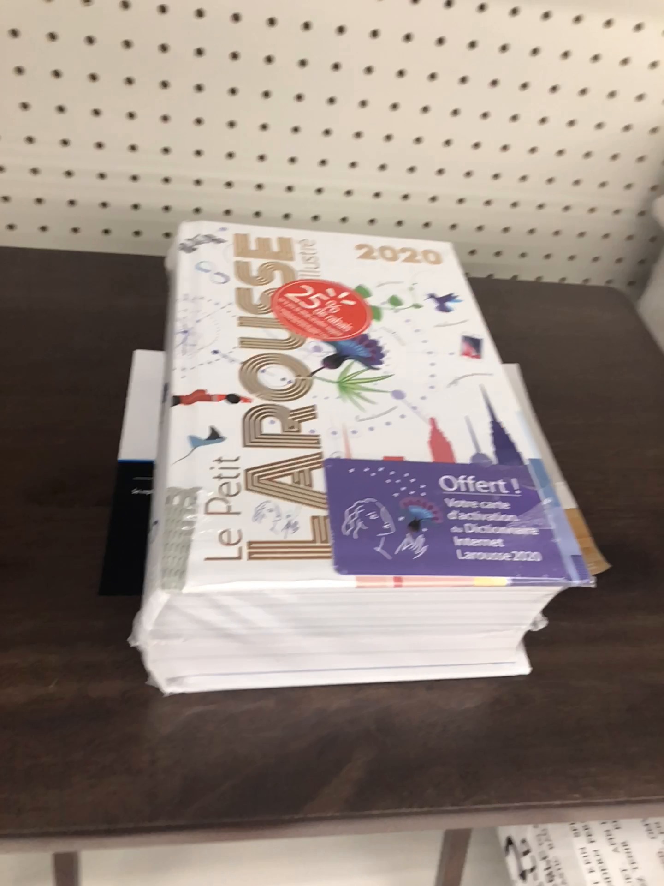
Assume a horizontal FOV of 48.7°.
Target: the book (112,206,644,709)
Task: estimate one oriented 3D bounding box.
[{"bbox_3d":[0.001,-0.011,0.332,0.170,0.069,0.232,1,46,-11],"label":"book"}]
